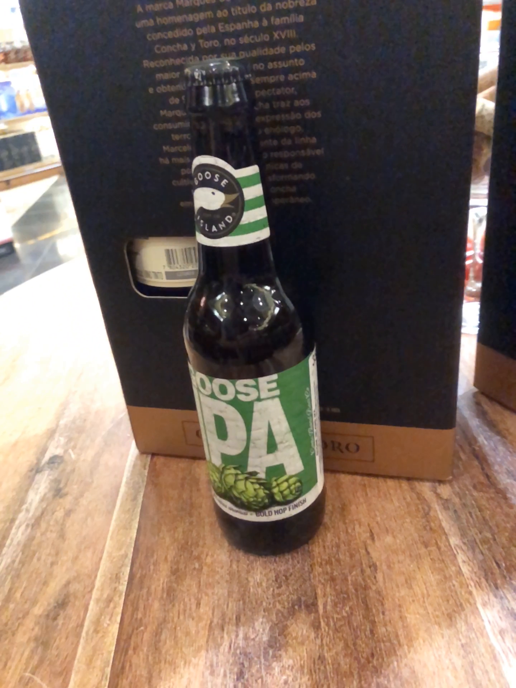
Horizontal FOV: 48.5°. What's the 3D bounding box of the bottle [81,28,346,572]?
[{"bbox_3d":[-0.005,-0.008,0.258,0.070,0.228,0.060,3,29,19],"label":"bottle"}]
